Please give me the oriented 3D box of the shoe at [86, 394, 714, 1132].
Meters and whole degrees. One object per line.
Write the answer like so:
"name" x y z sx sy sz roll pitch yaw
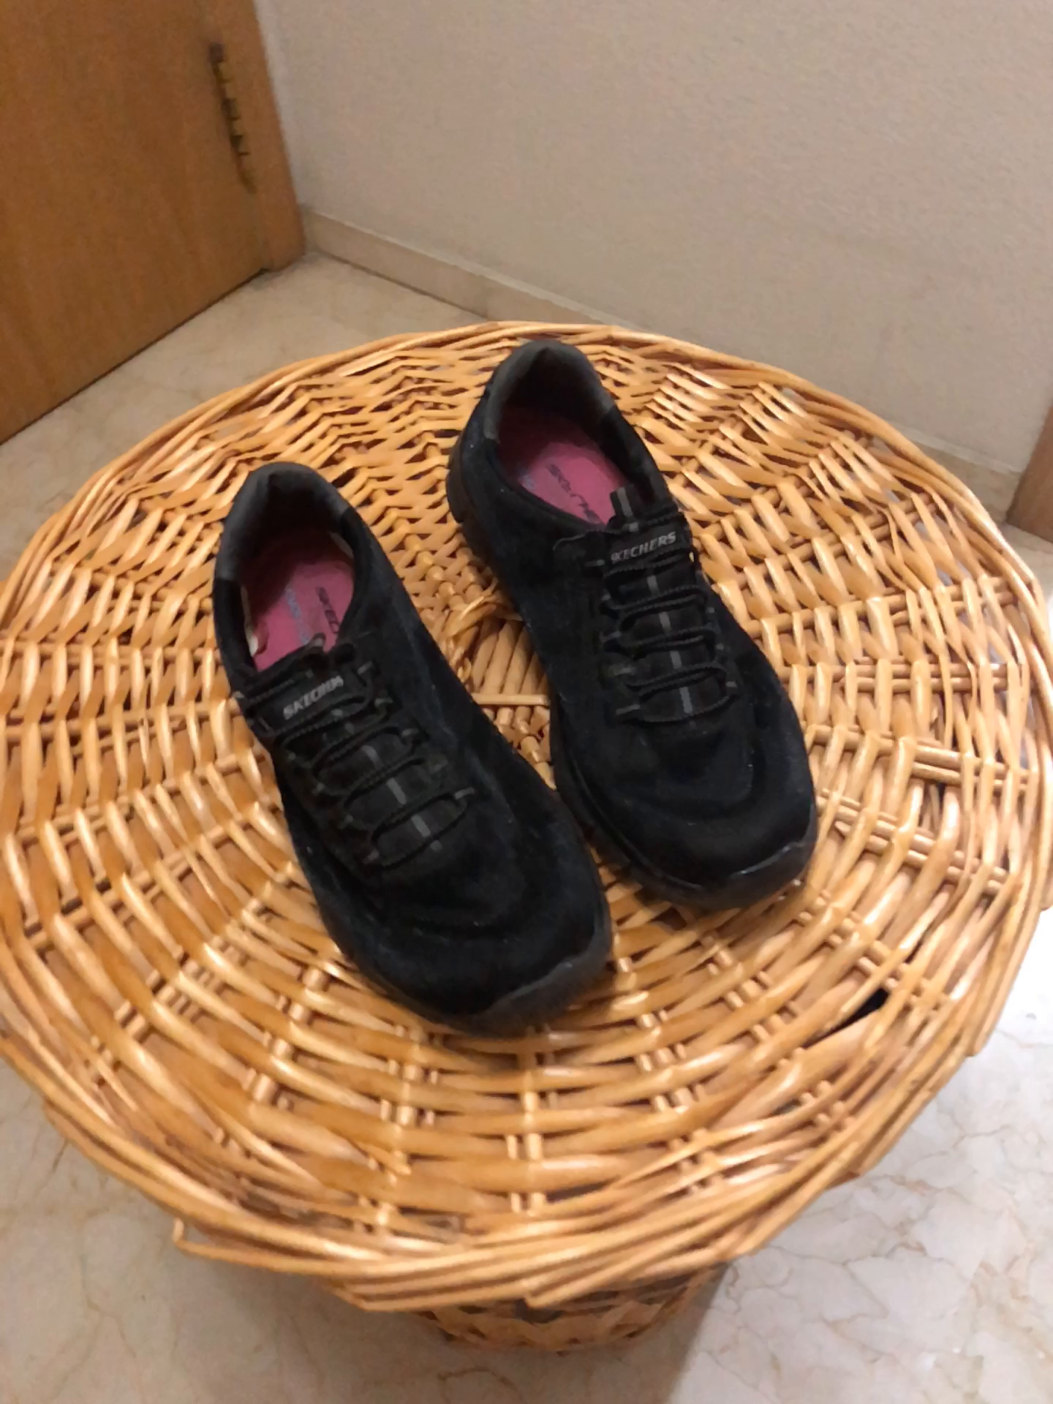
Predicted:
"shoe" -0.058 0.004 0.441 0.117 0.079 0.265 -26 55 -16

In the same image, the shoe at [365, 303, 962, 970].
"shoe" 0.036 -0.043 0.469 0.117 0.079 0.265 -19 53 -12
